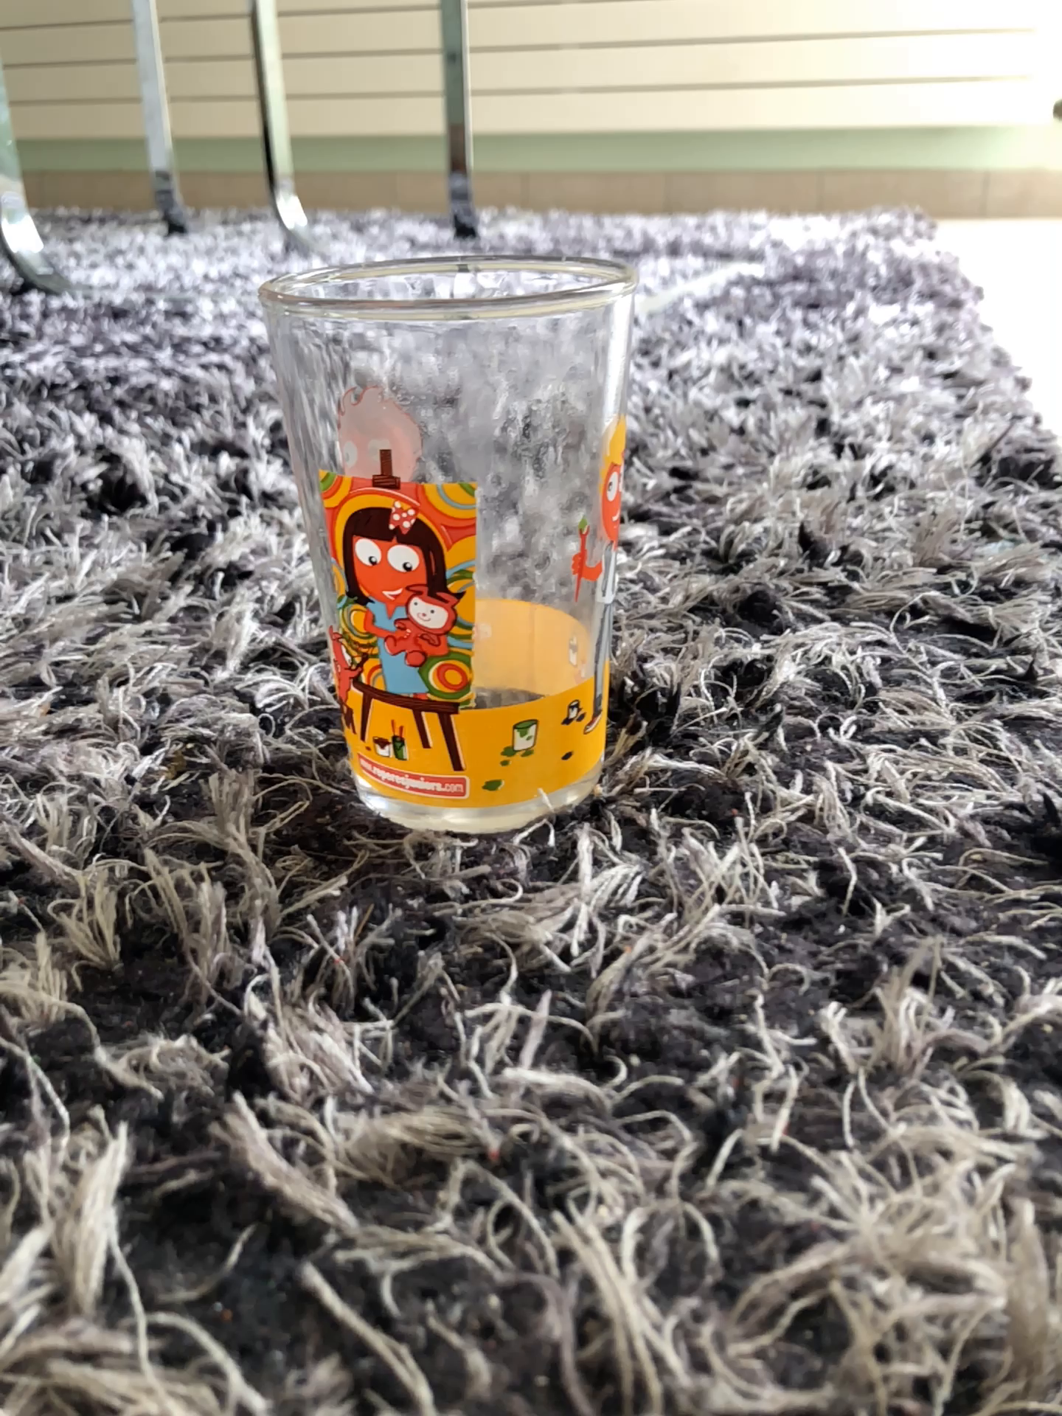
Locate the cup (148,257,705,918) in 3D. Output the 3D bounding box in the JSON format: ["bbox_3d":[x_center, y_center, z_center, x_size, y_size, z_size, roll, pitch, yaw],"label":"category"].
[{"bbox_3d":[-0.014,-0.029,0.224,0.070,0.099,0.070,-1,25,0],"label":"cup"}]
